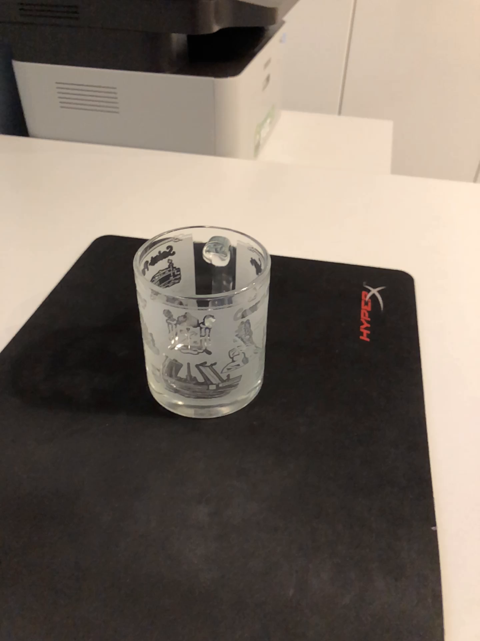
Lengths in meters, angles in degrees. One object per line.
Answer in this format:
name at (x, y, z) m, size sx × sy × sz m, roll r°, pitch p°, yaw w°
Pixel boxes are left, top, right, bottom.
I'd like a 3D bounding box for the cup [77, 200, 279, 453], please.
cup at (-0.032, 0.000, 0.354) m, size 0.090 × 0.106 × 0.117 m, roll 9°, pitch 39°, yaw 9°
